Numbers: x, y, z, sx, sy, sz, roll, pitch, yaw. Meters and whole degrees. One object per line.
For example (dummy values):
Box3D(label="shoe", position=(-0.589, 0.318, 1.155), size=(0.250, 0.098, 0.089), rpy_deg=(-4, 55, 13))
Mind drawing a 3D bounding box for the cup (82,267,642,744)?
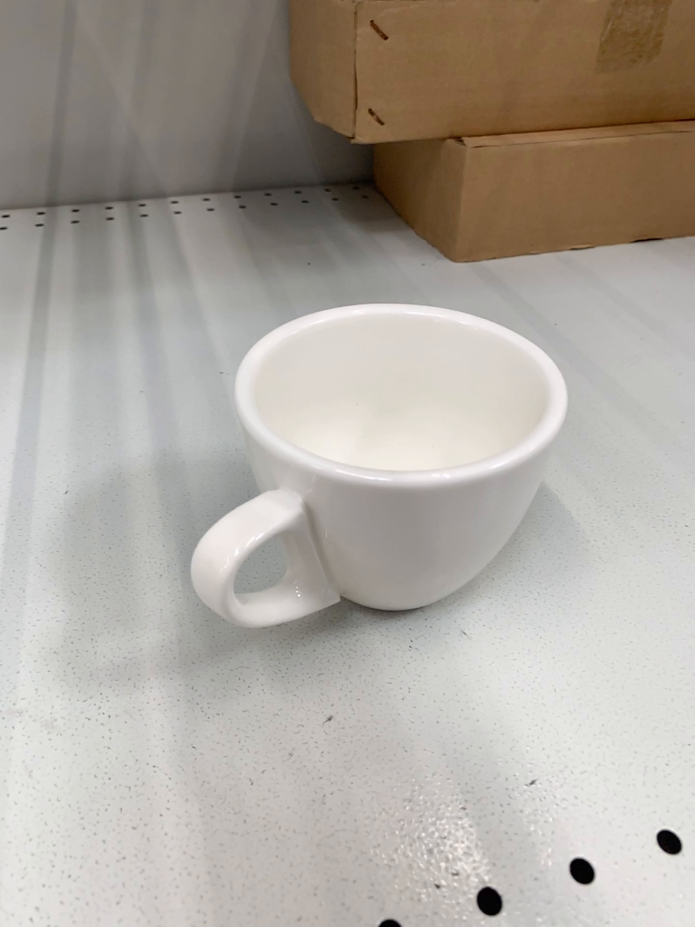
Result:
Box3D(label="cup", position=(0.006, -0.002, 0.226), size=(0.132, 0.062, 0.095), rpy_deg=(-26, 45, -31))
